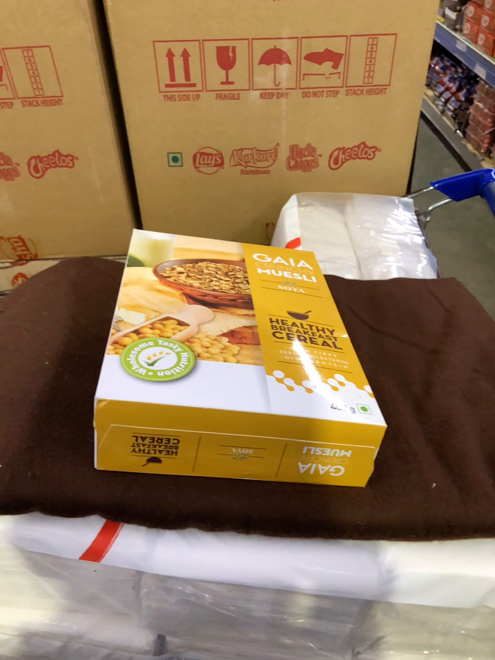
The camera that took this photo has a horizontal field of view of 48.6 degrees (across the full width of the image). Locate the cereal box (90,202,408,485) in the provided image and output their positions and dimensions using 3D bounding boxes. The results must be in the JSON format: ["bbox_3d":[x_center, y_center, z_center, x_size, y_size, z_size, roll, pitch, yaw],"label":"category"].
[{"bbox_3d":[-0.010,-0.007,0.404,0.170,0.060,0.241,6,35,-9],"label":"cereal box"}]
